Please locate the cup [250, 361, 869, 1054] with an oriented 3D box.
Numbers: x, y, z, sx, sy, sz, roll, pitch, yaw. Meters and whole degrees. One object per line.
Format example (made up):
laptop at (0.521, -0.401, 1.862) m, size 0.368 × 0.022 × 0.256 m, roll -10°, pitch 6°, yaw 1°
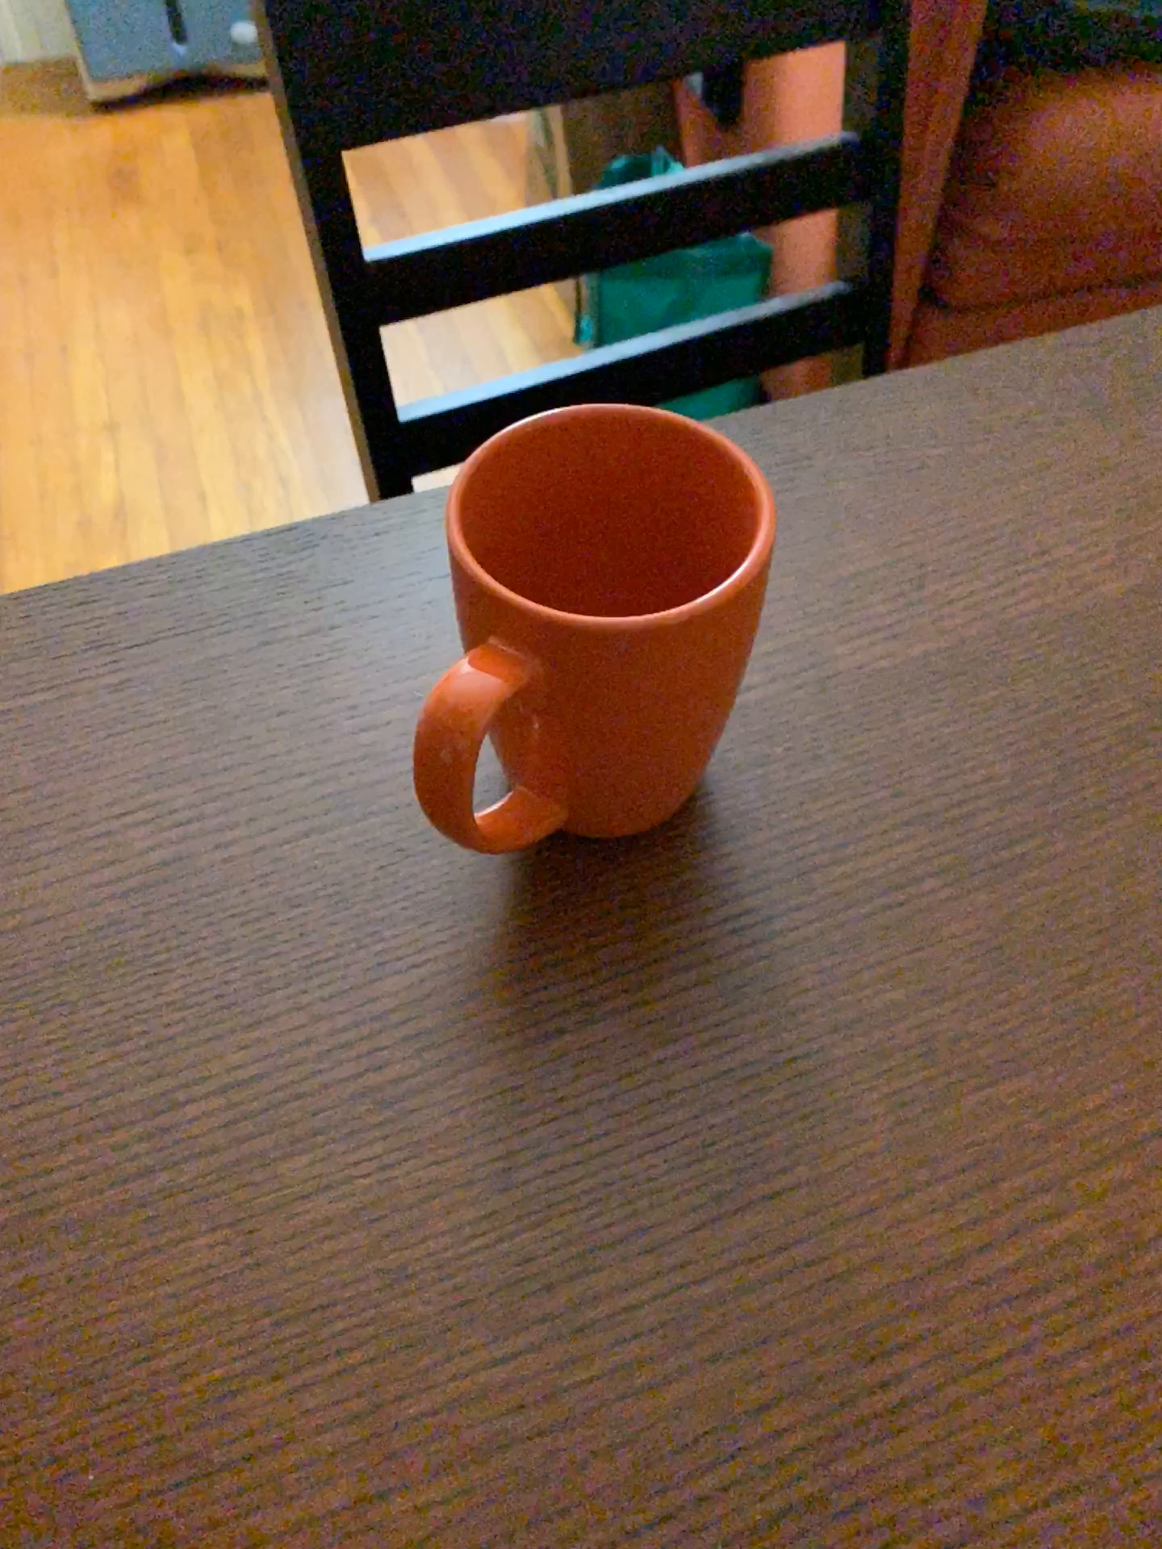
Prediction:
cup at (-0.001, -0.020, 0.339) m, size 0.100 × 0.109 × 0.130 m, roll 25°, pitch 57°, yaw 17°
